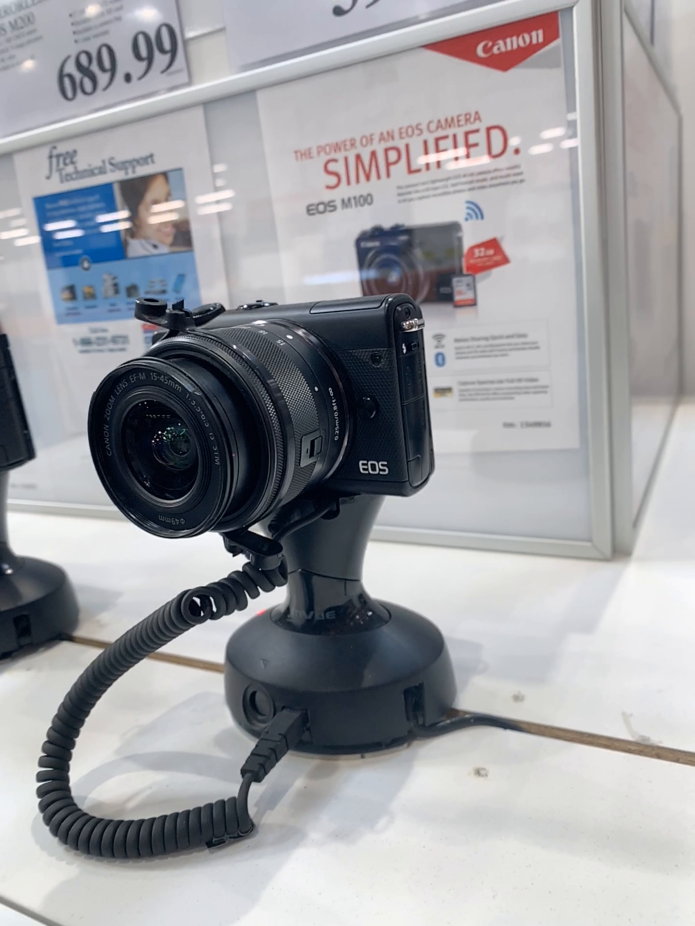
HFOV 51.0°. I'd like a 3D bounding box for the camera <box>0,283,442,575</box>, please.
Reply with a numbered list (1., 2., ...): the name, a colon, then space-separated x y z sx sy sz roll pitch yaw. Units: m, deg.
1. camera: -0.041 -0.018 0.232 0.110 0.066 0.093 2 12 33
